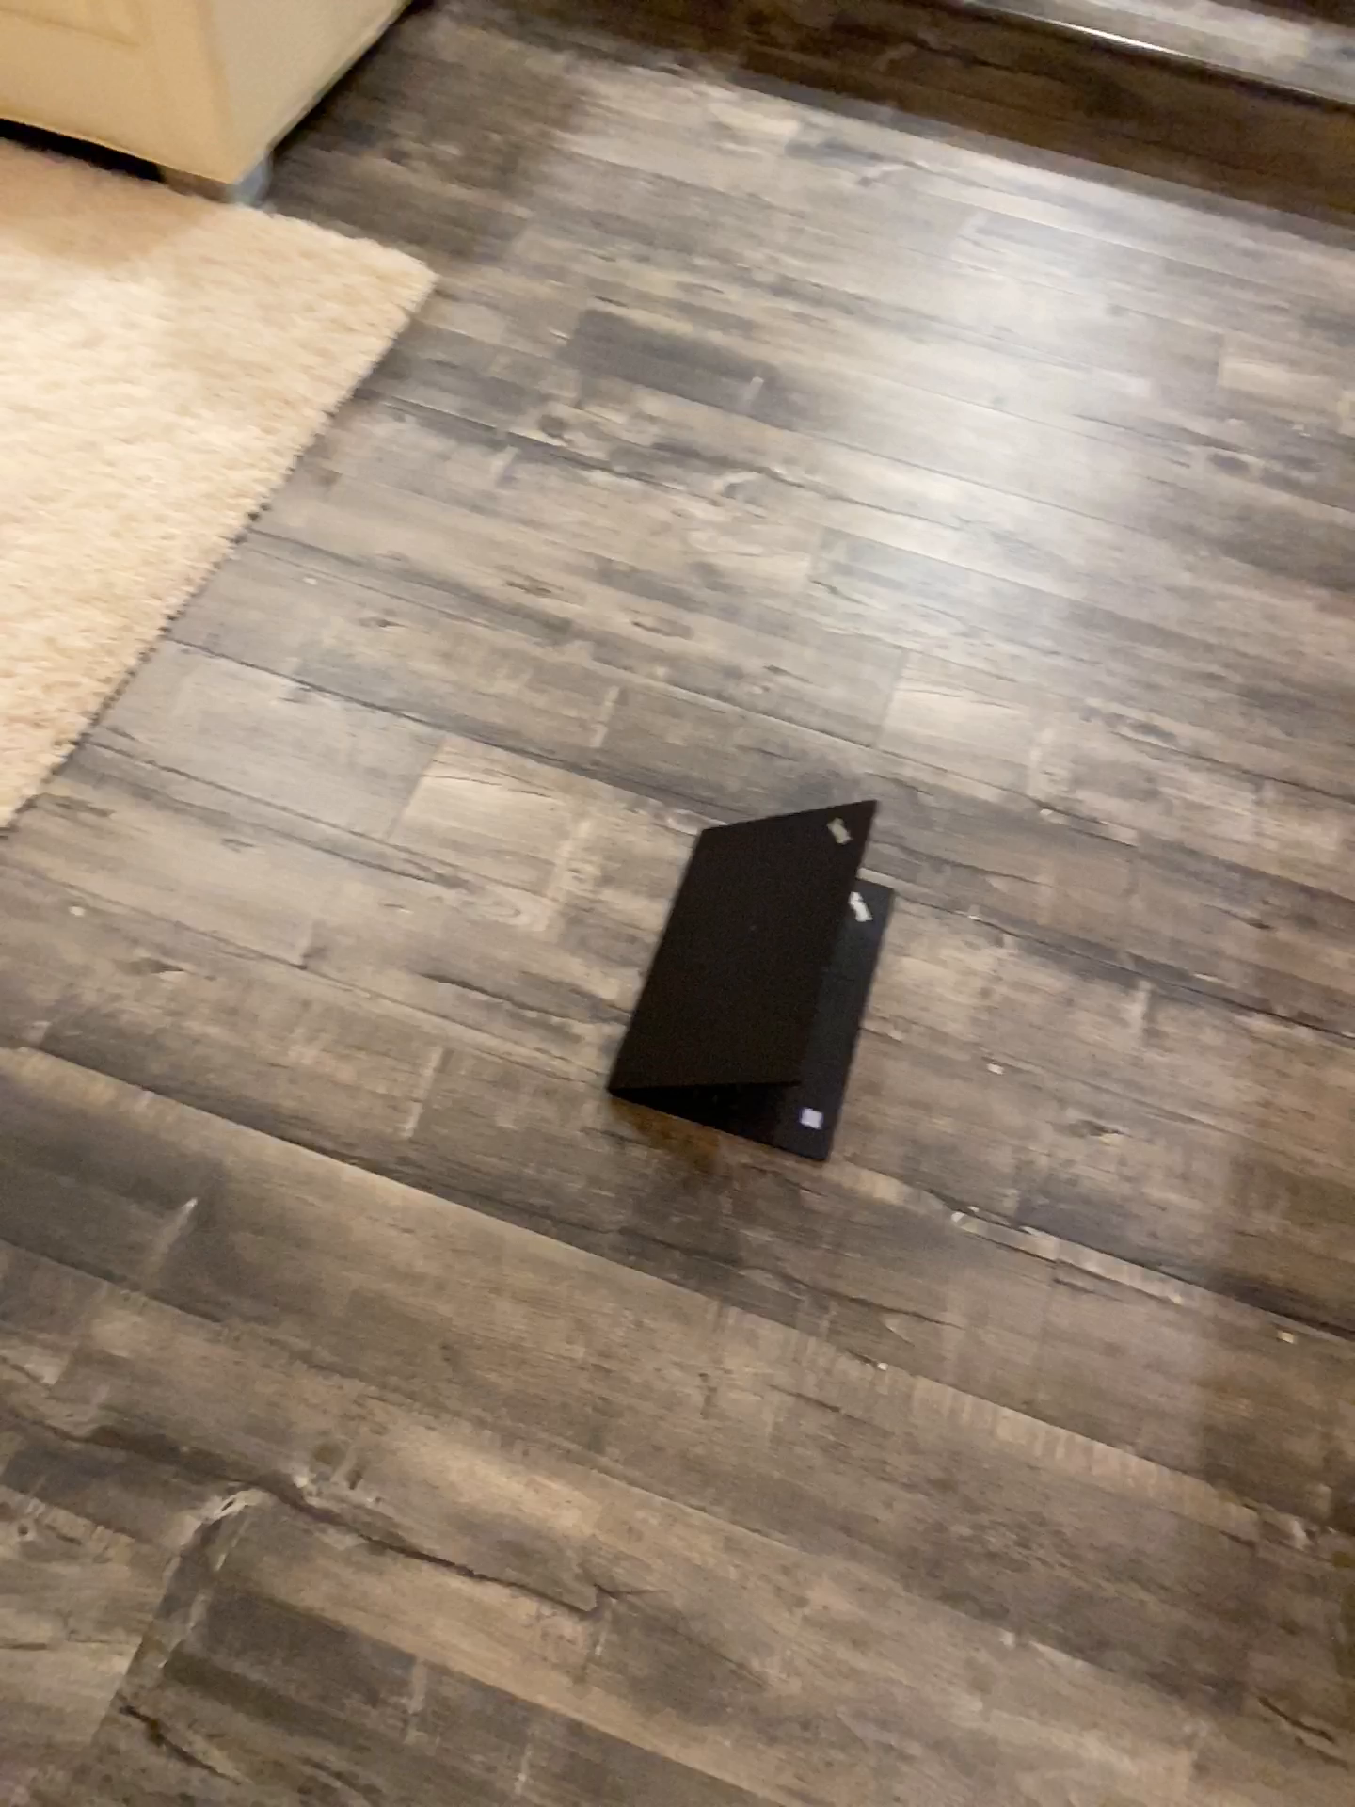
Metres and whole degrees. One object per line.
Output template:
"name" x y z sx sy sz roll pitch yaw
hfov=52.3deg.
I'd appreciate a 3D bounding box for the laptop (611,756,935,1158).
"laptop" 0.094 0.044 1.313 0.218 0.124 0.316 17 56 5
